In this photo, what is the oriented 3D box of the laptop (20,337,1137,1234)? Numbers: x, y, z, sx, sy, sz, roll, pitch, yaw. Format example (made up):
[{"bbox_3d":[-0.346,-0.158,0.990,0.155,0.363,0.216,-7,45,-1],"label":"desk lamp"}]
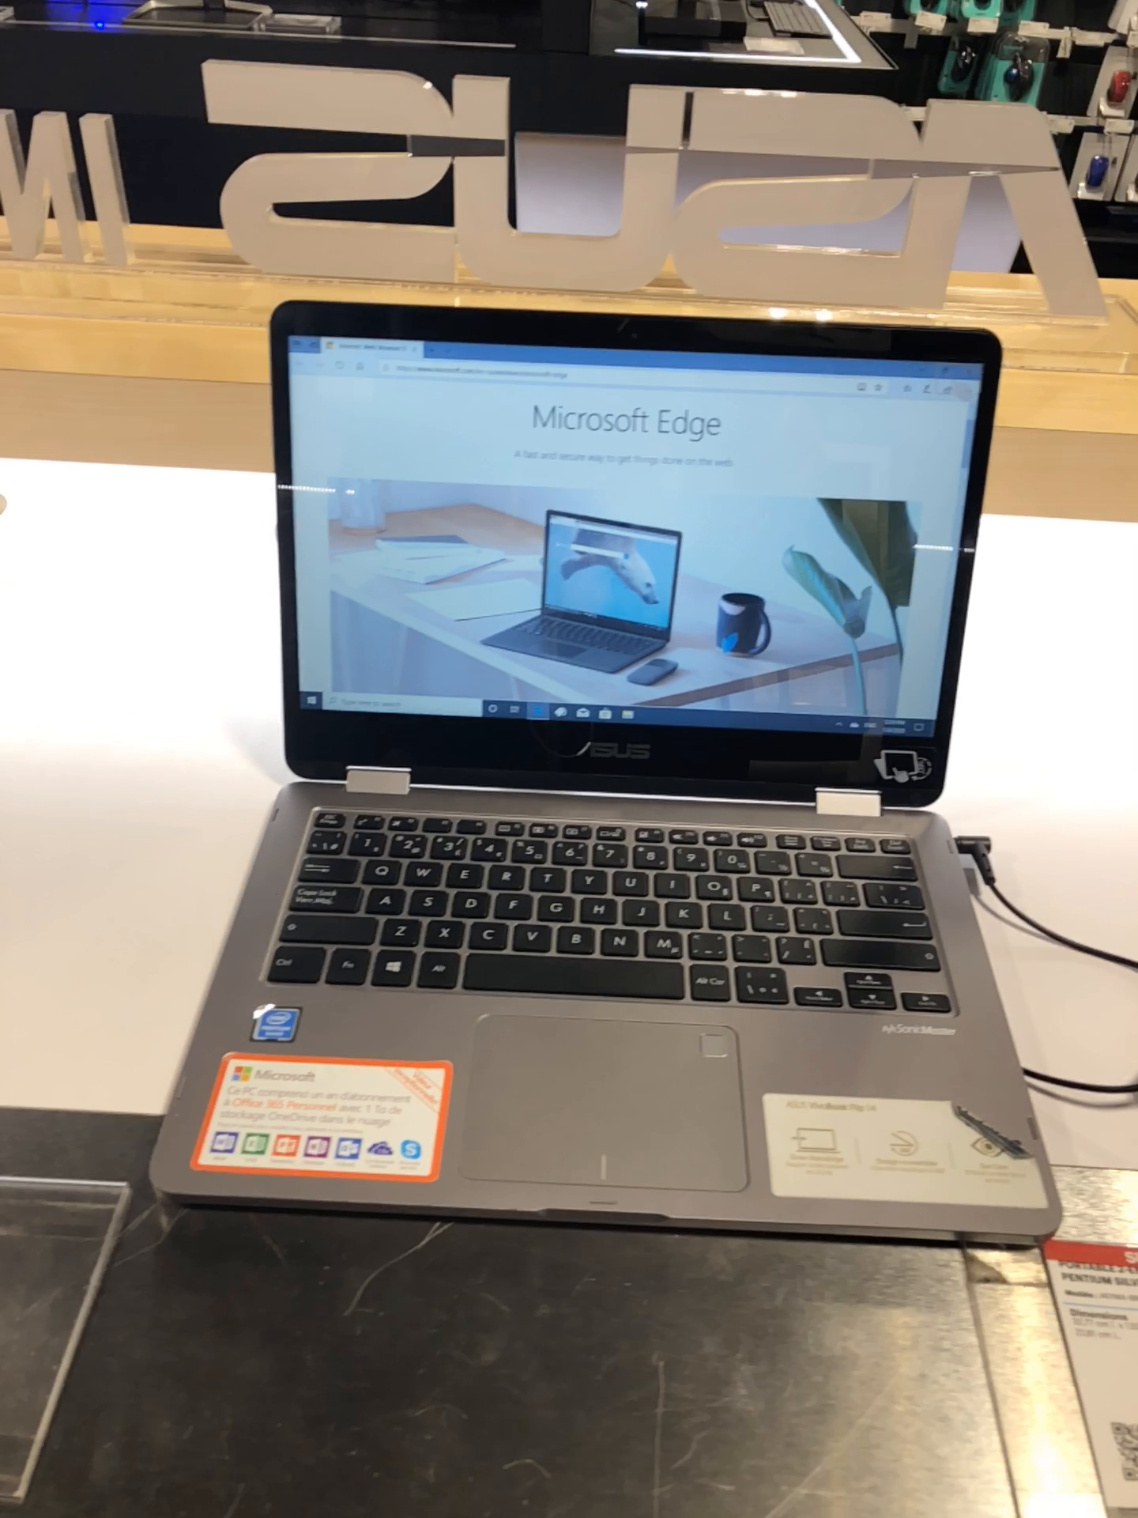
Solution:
[{"bbox_3d":[0.024,-0.012,0.471,0.304,0.212,0.279,3,35,2],"label":"laptop"}]
